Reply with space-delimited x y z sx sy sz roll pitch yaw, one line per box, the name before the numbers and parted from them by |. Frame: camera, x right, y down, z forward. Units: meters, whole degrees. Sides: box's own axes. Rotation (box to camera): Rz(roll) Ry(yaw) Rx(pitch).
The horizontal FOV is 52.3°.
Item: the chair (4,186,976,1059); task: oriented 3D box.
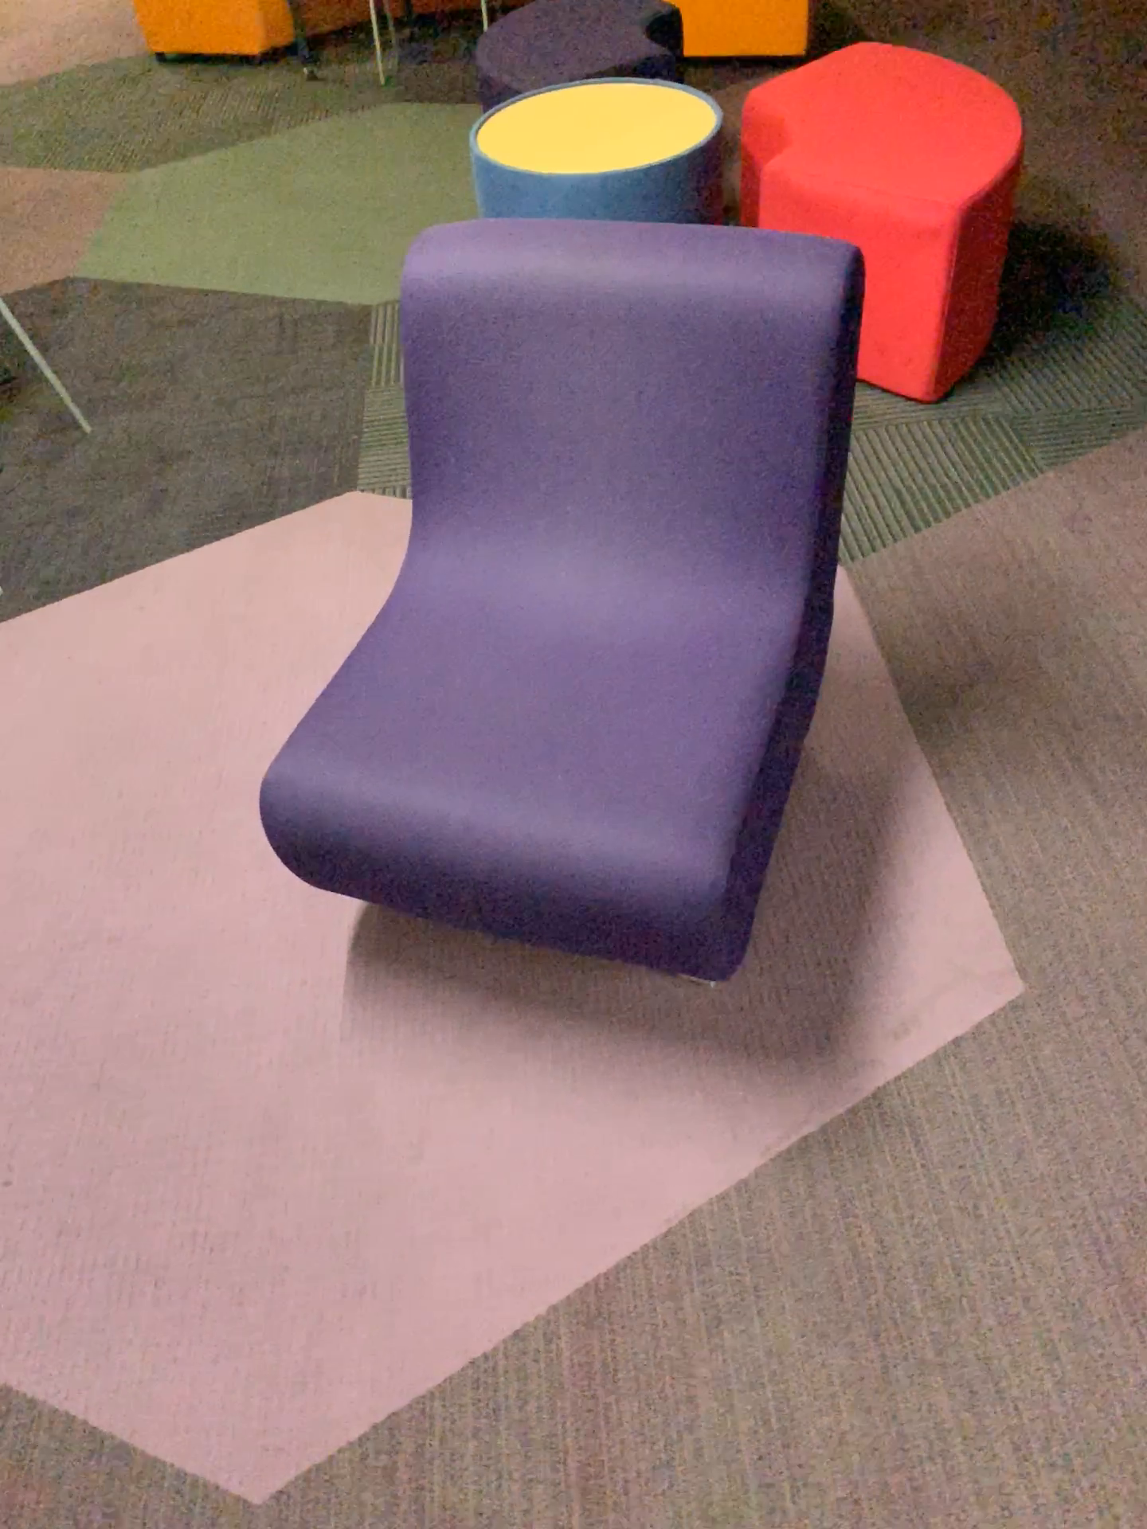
chair | 0.005 -0.242 1.459 0.801 0.614 0.827 10 47 17
